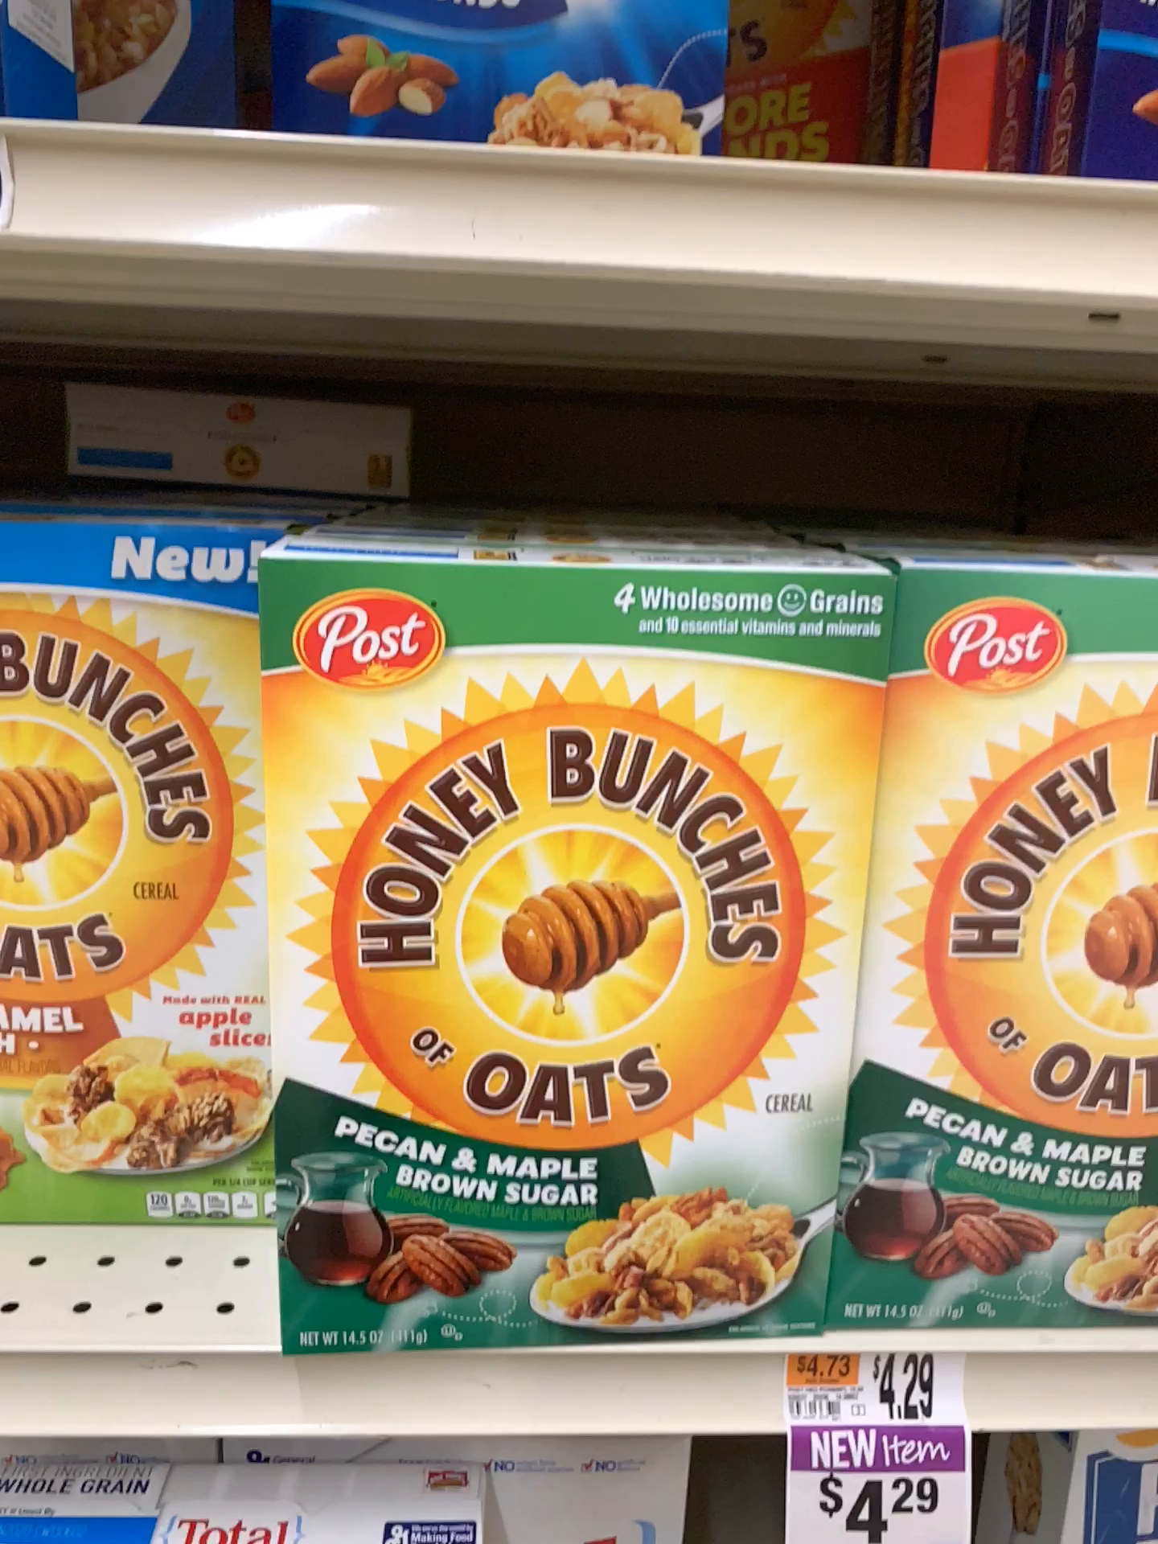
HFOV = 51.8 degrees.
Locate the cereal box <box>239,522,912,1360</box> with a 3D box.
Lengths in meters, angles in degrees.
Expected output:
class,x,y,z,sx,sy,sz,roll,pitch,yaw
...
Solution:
class,x,y,z,sx,sy,sz,roll,pitch,yaw
cereal box,-0.007,0.060,0.416,0.200,0.279,0.060,0,15,-7
